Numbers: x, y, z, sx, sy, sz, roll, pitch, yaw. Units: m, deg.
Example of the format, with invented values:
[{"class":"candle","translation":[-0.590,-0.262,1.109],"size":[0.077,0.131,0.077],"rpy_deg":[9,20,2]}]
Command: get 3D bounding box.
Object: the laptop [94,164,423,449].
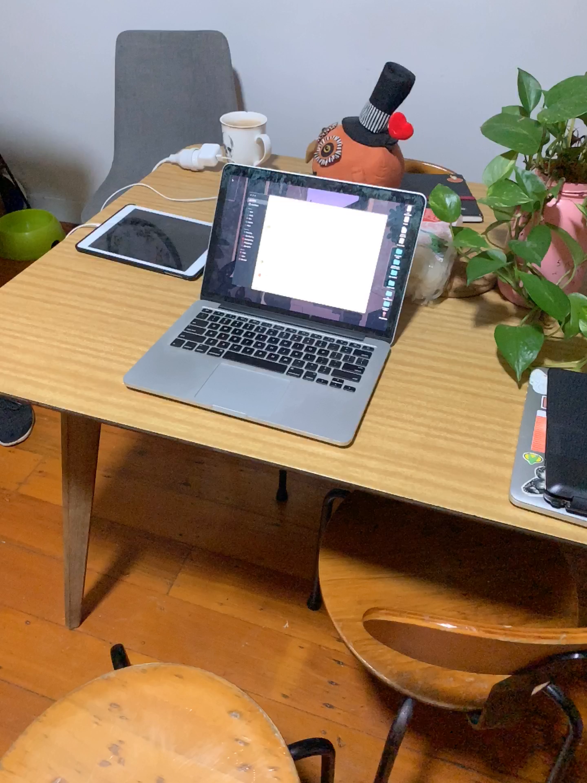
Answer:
[{"class":"laptop","translation":[-0.019,-0.119,0.682],"size":[0.263,0.144,0.288],"rpy_deg":[14,42,16]}]
